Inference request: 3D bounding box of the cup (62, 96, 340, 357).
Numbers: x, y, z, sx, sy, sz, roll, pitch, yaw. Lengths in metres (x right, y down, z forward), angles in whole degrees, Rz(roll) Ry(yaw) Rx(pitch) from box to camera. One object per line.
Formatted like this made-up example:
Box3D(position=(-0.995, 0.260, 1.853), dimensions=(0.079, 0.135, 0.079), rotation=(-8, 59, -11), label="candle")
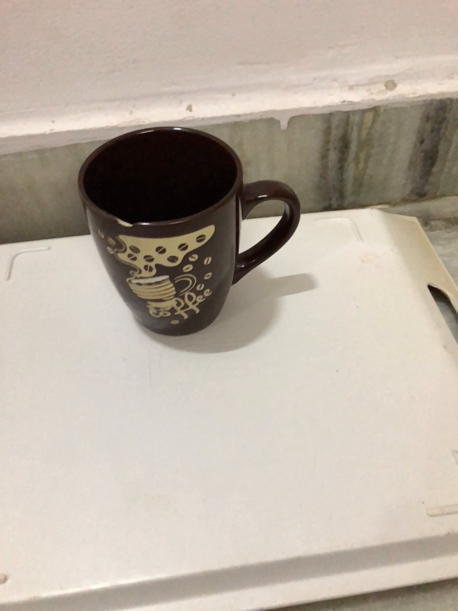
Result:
Box3D(position=(-0.016, -0.043, 0.283), dimensions=(0.120, 0.099, 0.070), rotation=(-14, 49, -11), label="cup")
